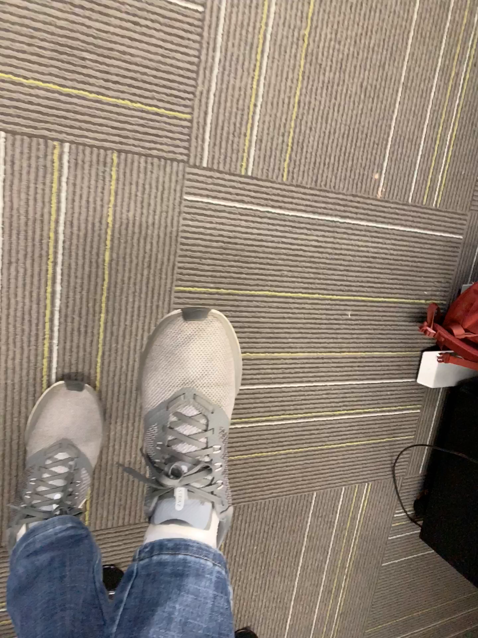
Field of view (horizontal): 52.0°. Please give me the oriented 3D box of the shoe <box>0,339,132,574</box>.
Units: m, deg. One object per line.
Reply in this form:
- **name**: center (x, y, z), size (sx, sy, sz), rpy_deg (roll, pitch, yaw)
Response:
- **shoe**: center (-0.296, 0.216, 0.806), size (0.124, 0.180, 0.310), rpy_deg (12, 100, -29)

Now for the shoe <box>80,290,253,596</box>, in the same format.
- **shoe**: center (-0.062, 0.129, 0.526), size (0.126, 0.115, 0.298), rpy_deg (-2, 106, 7)
